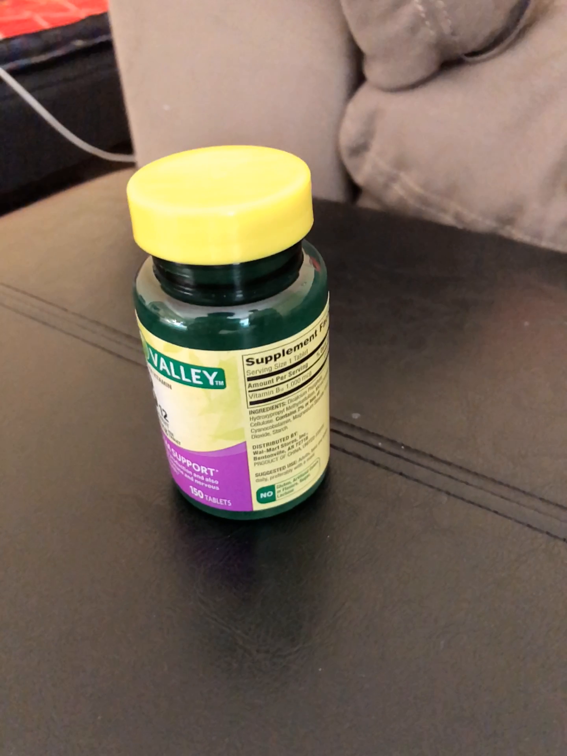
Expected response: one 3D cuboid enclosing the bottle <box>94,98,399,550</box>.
[{"bbox_3d":[-0.009,-0.013,0.158,0.050,0.090,0.050,-1,37,1],"label":"bottle"}]
